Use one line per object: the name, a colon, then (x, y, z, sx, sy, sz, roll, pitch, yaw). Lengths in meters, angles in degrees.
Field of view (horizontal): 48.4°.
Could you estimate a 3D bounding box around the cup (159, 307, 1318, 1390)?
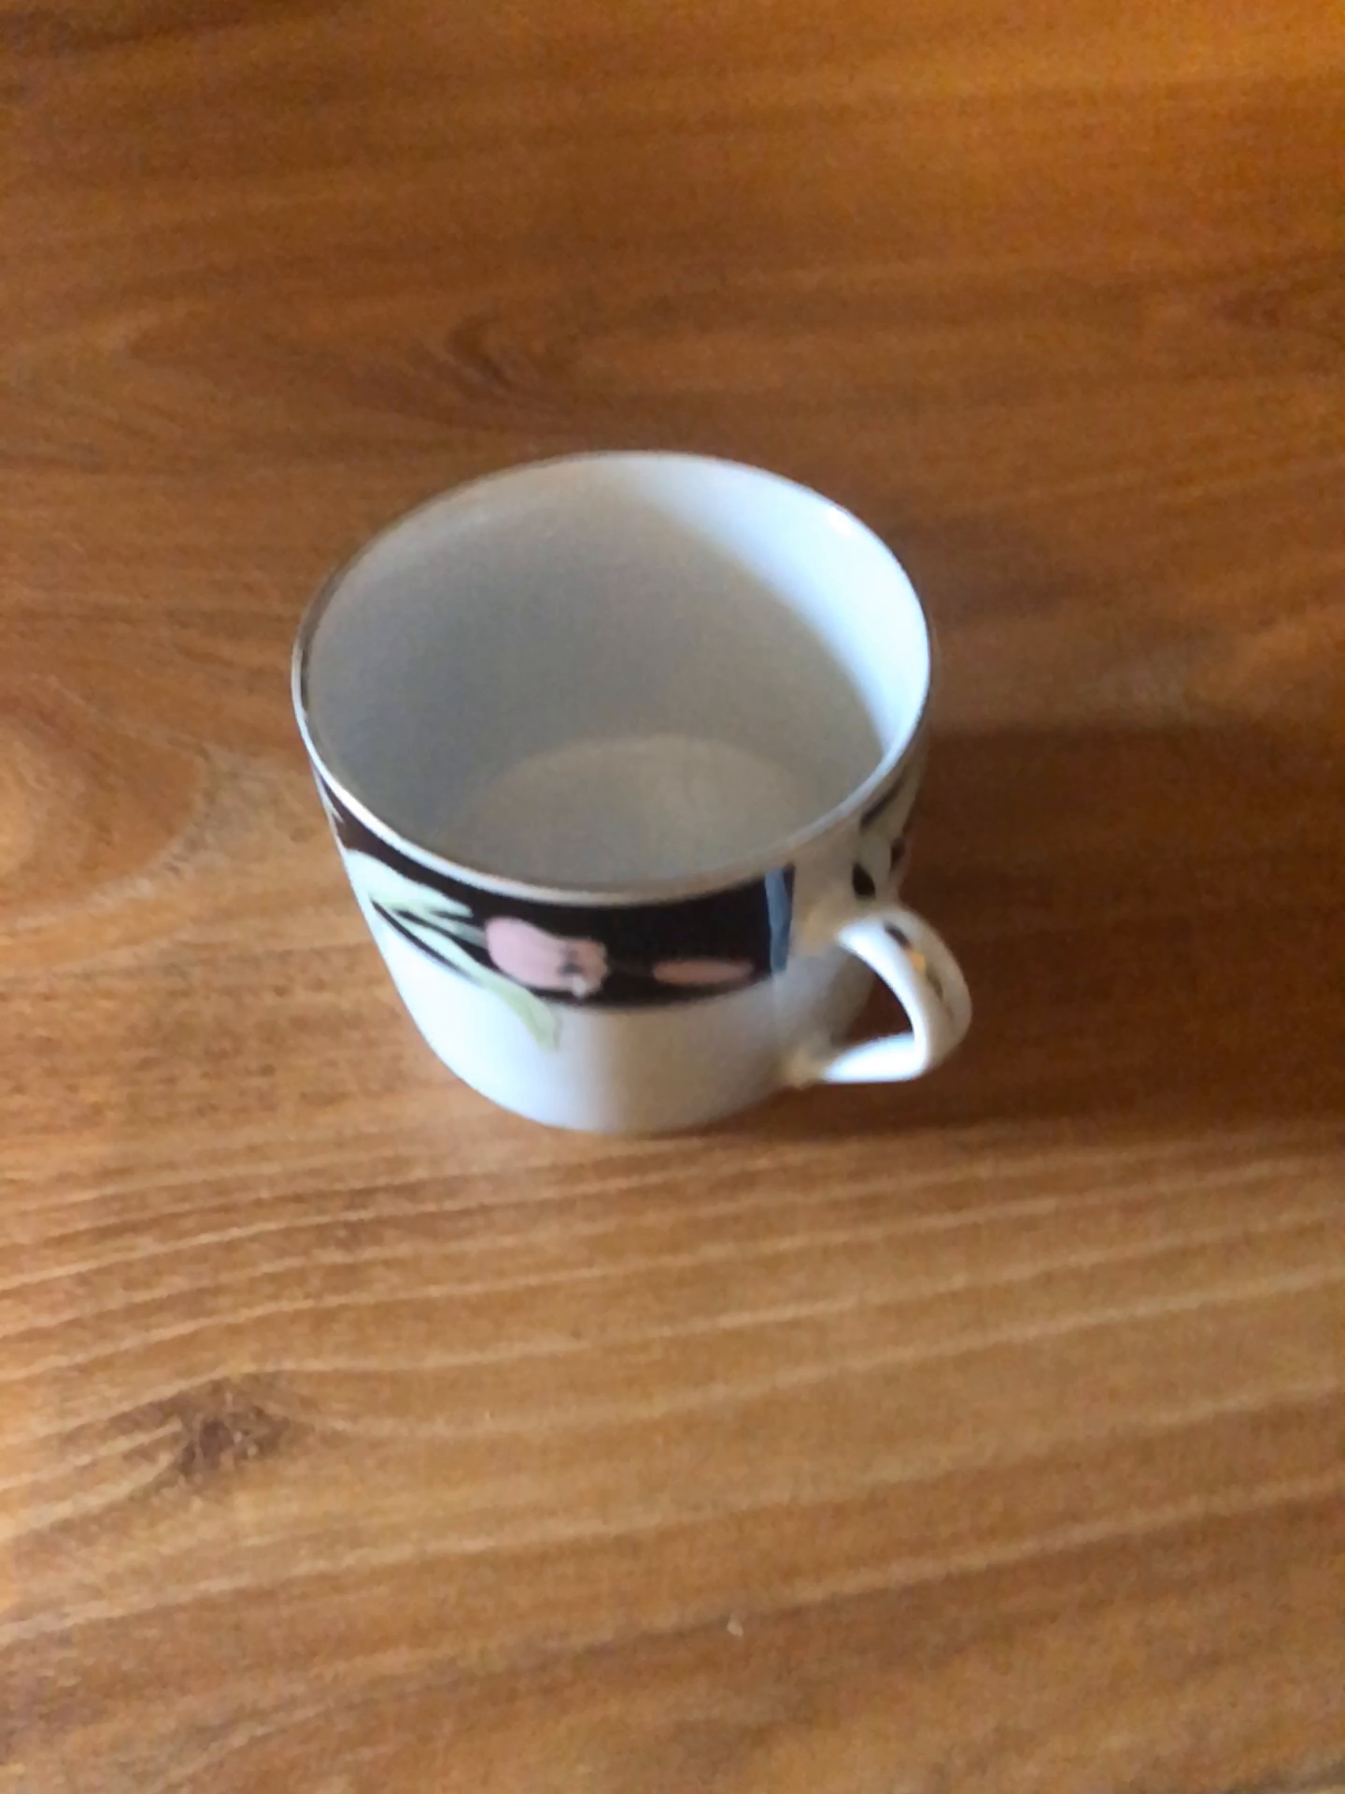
cup: (0.005, -0.014, 0.204, 0.090, 0.060, 0.110, -33, 58, -21)
